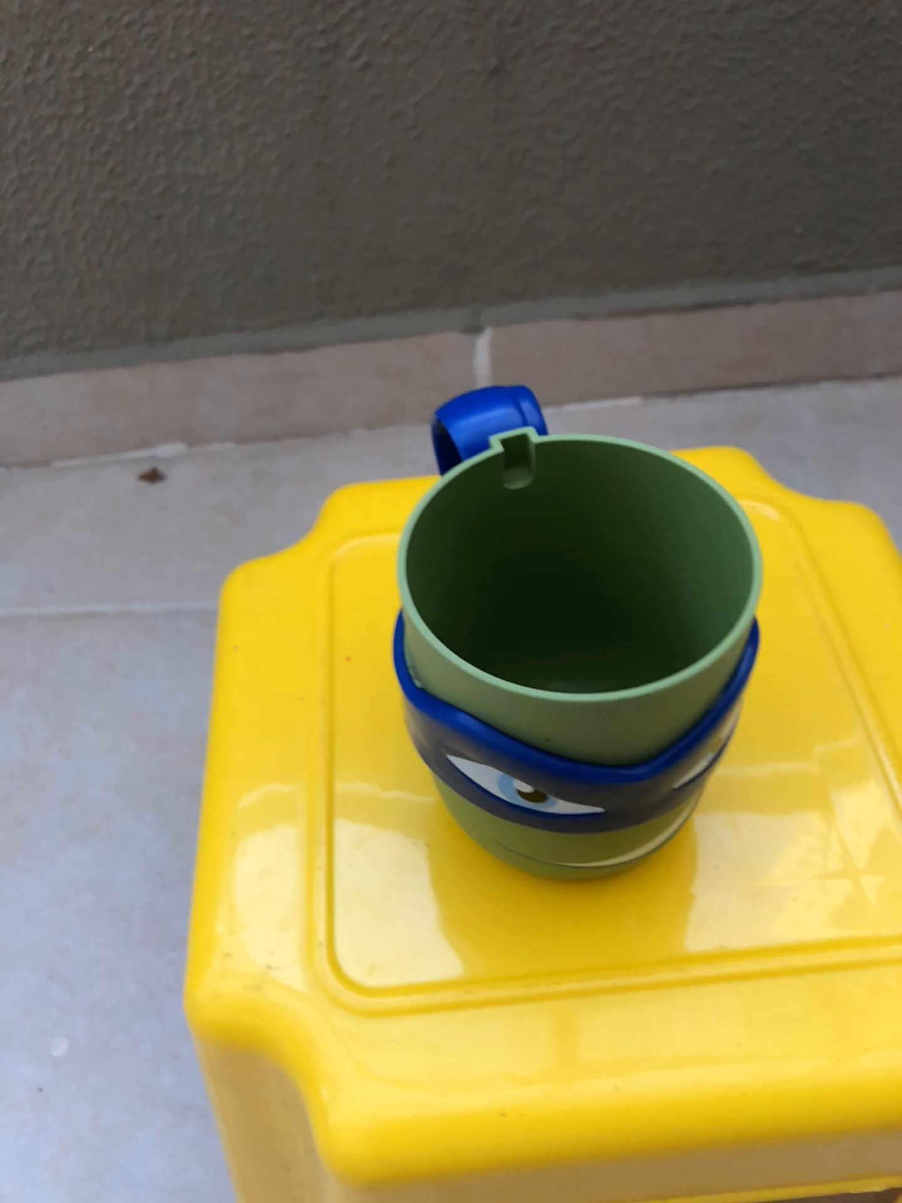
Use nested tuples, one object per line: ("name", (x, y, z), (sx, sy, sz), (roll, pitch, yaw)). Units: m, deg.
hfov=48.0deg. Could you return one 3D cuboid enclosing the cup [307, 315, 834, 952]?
("cup", (0.021, 0.006, 0.251), (0.080, 0.089, 0.111), (-14, 49, -6))
